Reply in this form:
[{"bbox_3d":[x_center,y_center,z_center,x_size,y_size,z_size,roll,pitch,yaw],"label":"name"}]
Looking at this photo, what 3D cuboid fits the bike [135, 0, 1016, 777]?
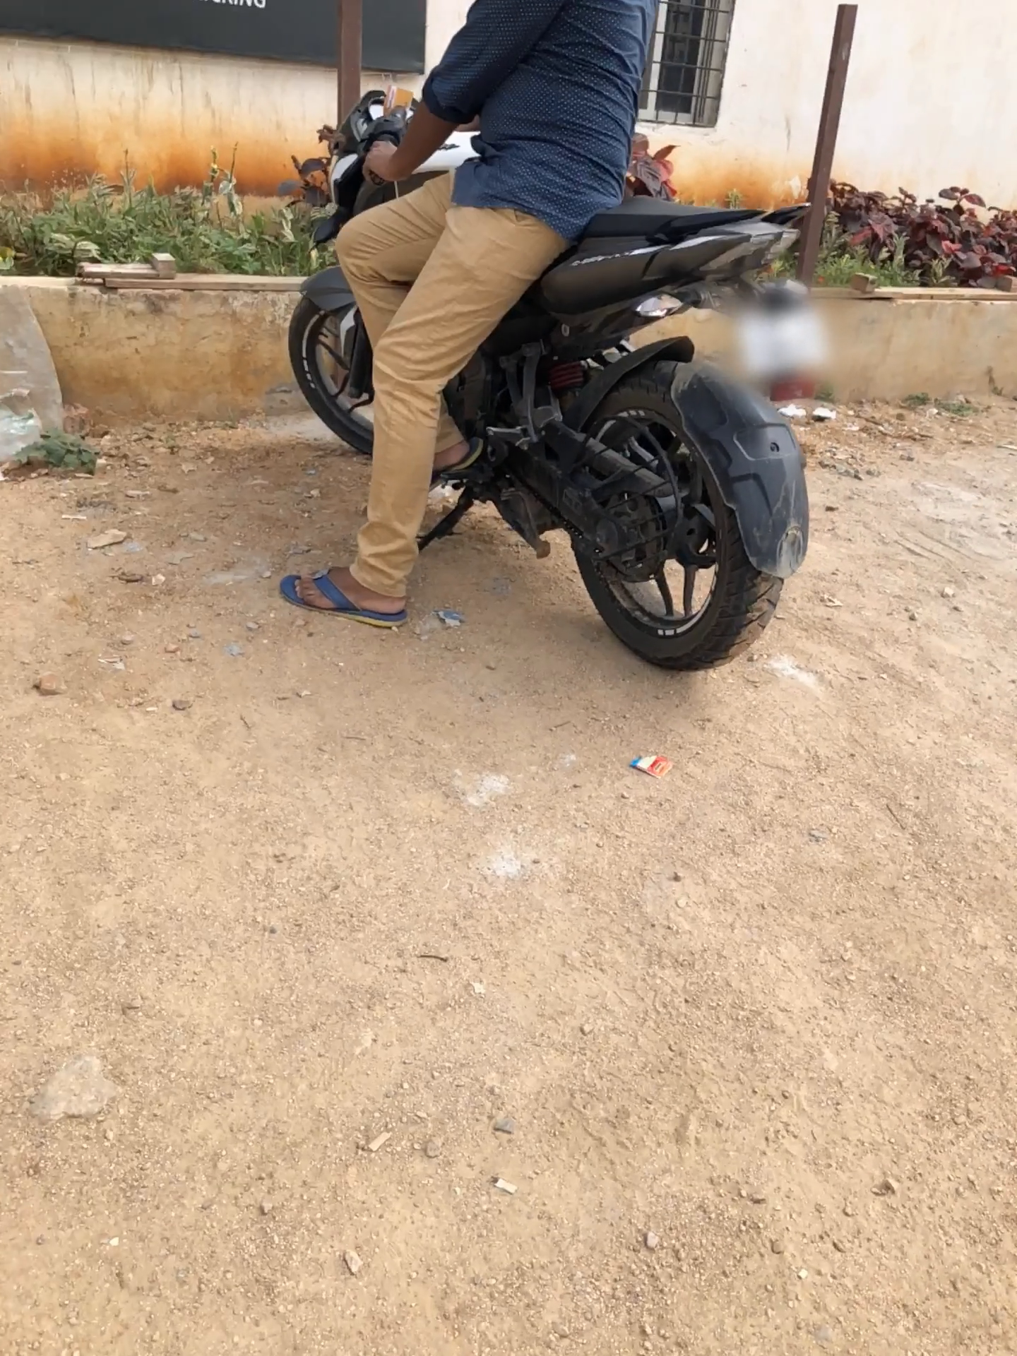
[{"bbox_3d":[-0.044,-0.839,2.488,0.782,1.122,1.852,-15,36,-35],"label":"bike"}]
